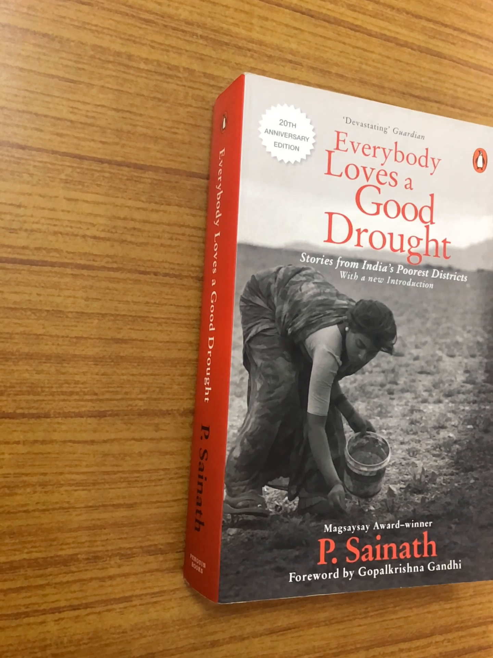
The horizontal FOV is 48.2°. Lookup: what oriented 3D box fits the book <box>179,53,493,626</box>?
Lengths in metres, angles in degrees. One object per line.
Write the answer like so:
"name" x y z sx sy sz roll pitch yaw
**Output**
"book" 0.050 0.007 0.246 0.140 0.040 0.210 5 86 -22
